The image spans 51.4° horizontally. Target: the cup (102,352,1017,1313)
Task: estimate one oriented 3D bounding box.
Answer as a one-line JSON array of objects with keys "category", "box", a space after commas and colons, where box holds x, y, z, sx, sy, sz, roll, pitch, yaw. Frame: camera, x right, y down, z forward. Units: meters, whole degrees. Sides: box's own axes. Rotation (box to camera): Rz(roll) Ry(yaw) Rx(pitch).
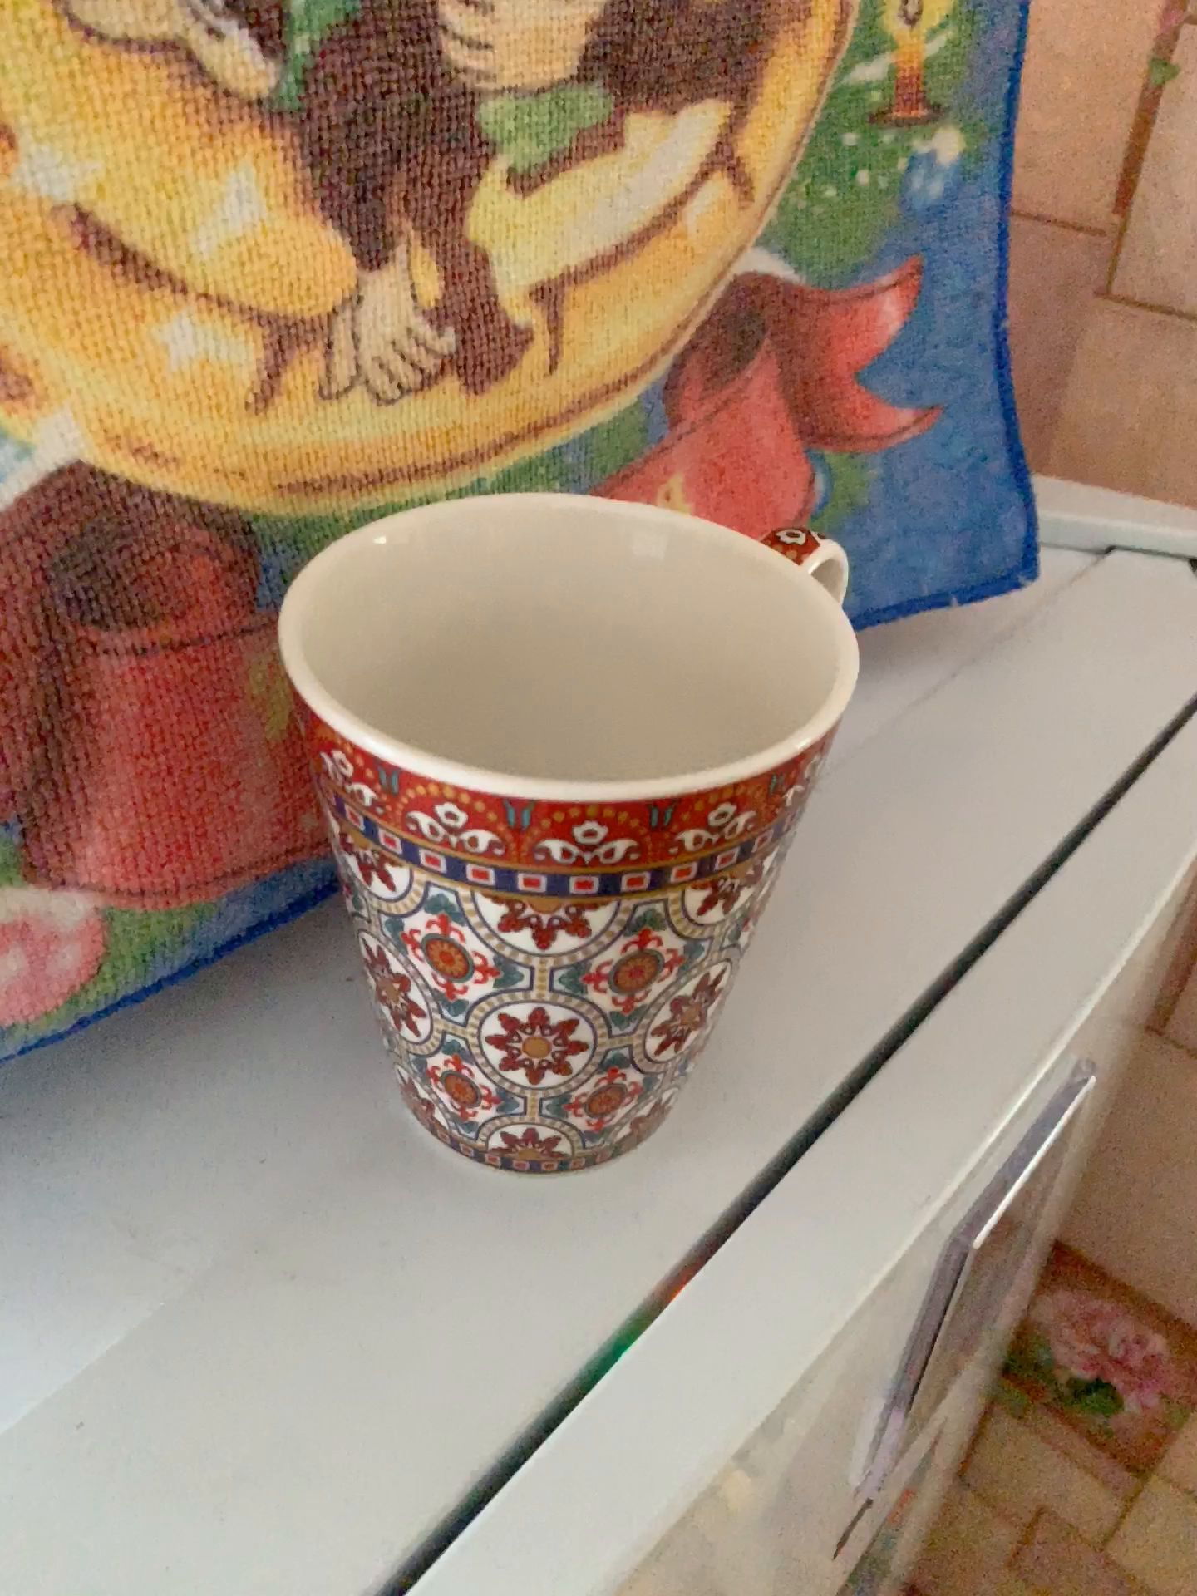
[{"category": "cup", "box": [0.000, -0.006, 0.227, 0.090, 0.101, 0.125, 24, 41, 25]}]
